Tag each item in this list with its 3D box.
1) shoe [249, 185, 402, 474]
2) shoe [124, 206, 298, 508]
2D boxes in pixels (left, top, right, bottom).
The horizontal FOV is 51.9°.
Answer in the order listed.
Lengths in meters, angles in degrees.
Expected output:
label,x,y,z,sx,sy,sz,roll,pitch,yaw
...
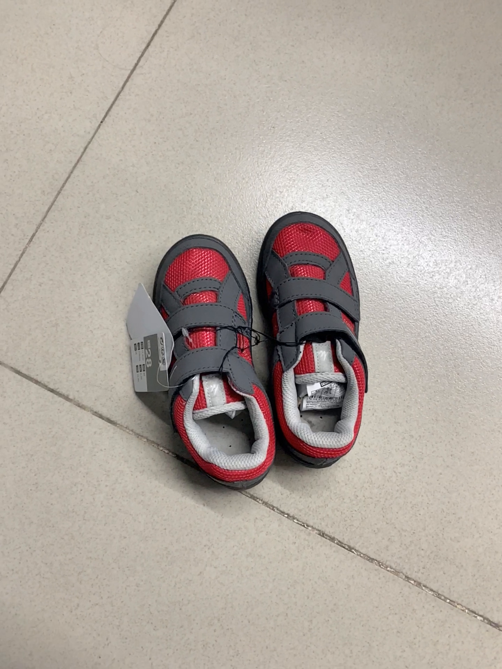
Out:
label,x,y,z,sx,sy,sz,roll,pitch,yaw
shoe,0.049,-0.002,0.387,0.080,0.080,0.190,-5,83,-3
shoe,-0.028,0.016,0.366,0.080,0.080,0.180,-10,83,-4
